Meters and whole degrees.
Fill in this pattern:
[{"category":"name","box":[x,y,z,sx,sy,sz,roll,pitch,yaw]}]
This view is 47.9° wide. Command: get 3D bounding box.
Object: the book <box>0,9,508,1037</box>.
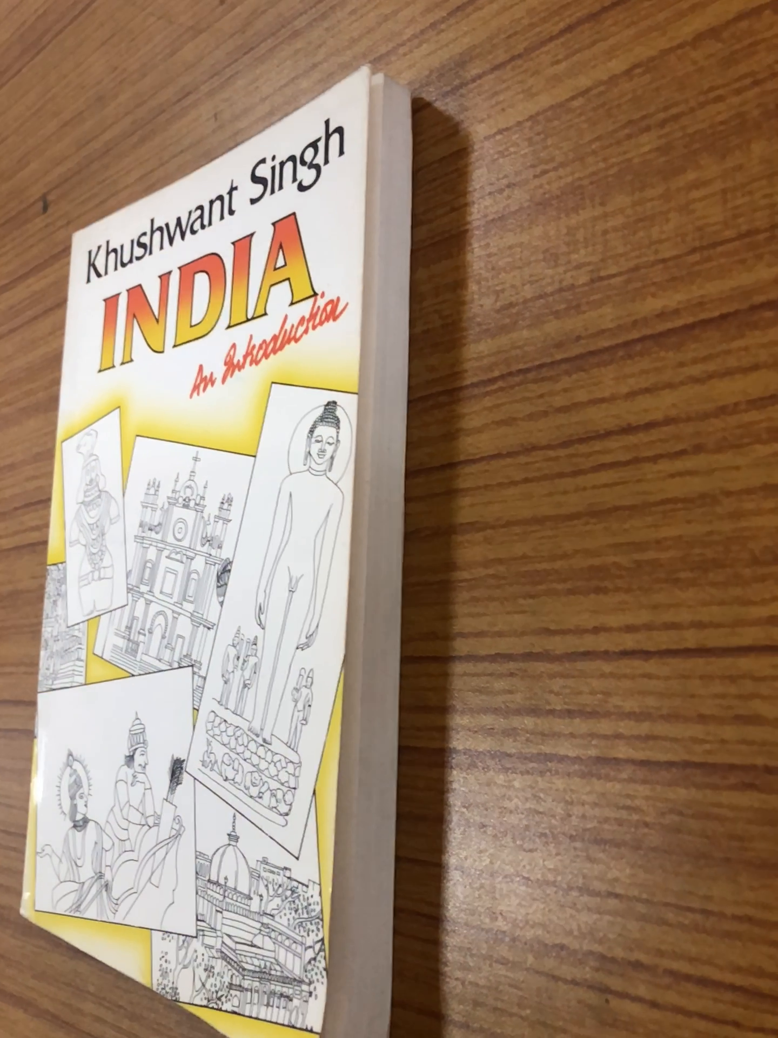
[{"category":"book","box":[-0.039,0.006,0.202,0.141,0.020,0.190,-5,80,42]}]
